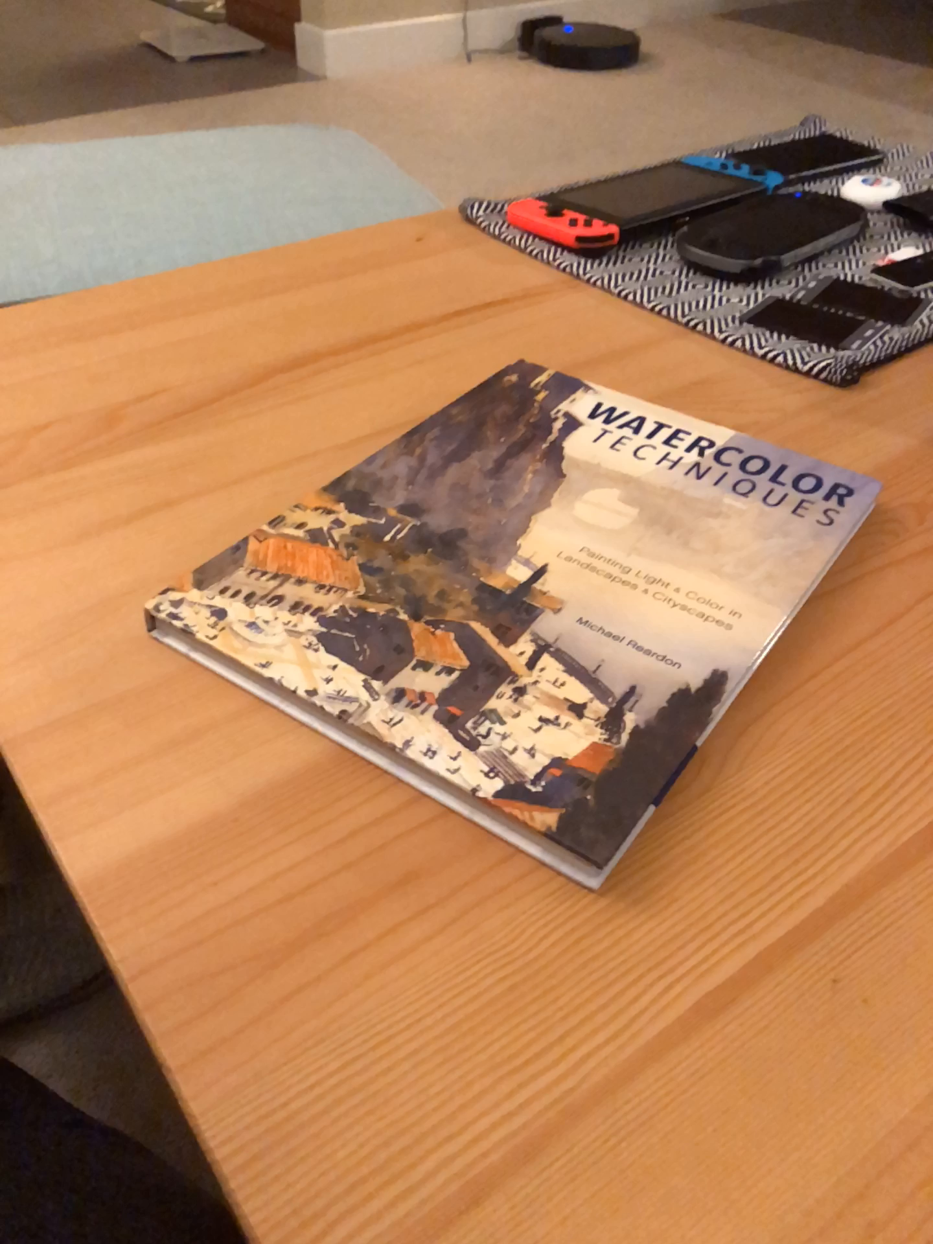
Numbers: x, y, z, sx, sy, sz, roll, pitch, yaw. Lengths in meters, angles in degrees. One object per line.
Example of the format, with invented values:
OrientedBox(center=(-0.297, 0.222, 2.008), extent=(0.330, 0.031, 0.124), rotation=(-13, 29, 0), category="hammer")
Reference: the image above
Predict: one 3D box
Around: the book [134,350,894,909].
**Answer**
OrientedBox(center=(0.036, -0.031, 0.453), extent=(0.213, 0.020, 0.280), rotation=(25, 46, 25), category="book")
